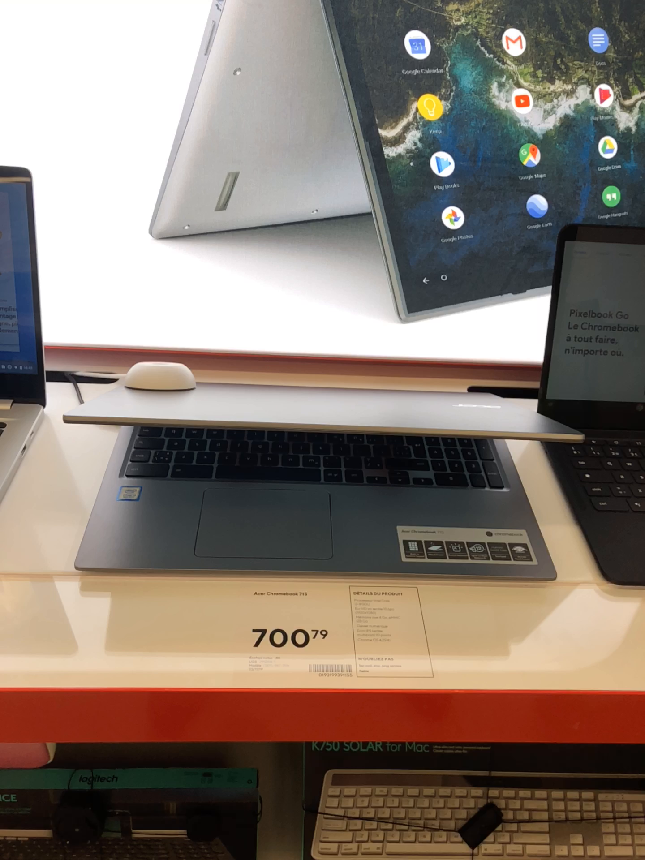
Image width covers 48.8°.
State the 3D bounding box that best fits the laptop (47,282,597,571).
[{"bbox_3d":[0.001,-0.012,0.603,0.368,0.109,0.245,2,36,-6],"label":"laptop"}]
